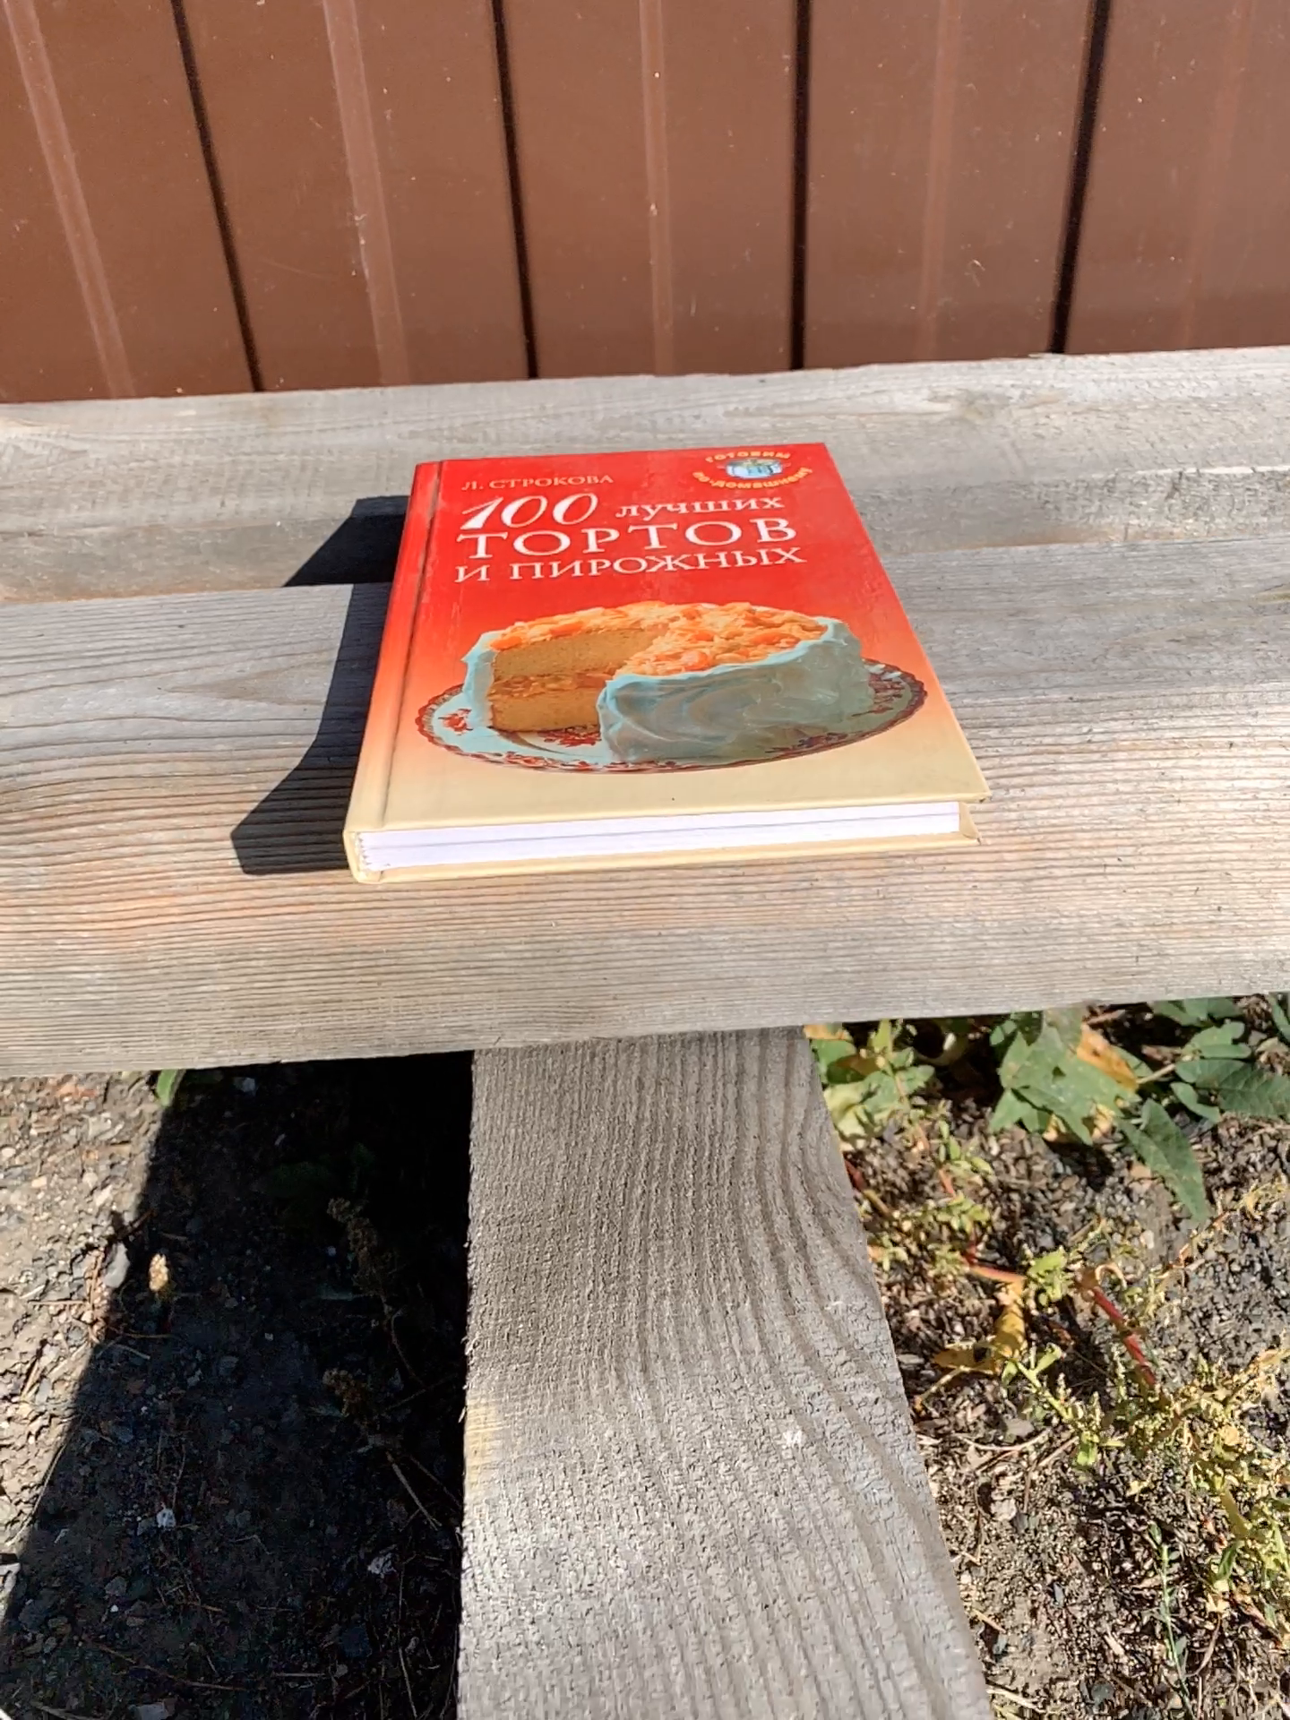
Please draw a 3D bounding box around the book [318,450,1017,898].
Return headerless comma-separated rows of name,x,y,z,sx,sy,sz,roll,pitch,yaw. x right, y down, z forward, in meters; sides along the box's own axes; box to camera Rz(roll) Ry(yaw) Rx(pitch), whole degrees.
book,-0.001,-0.066,0.366,0.143,0.017,0.219,-3,35,-2
